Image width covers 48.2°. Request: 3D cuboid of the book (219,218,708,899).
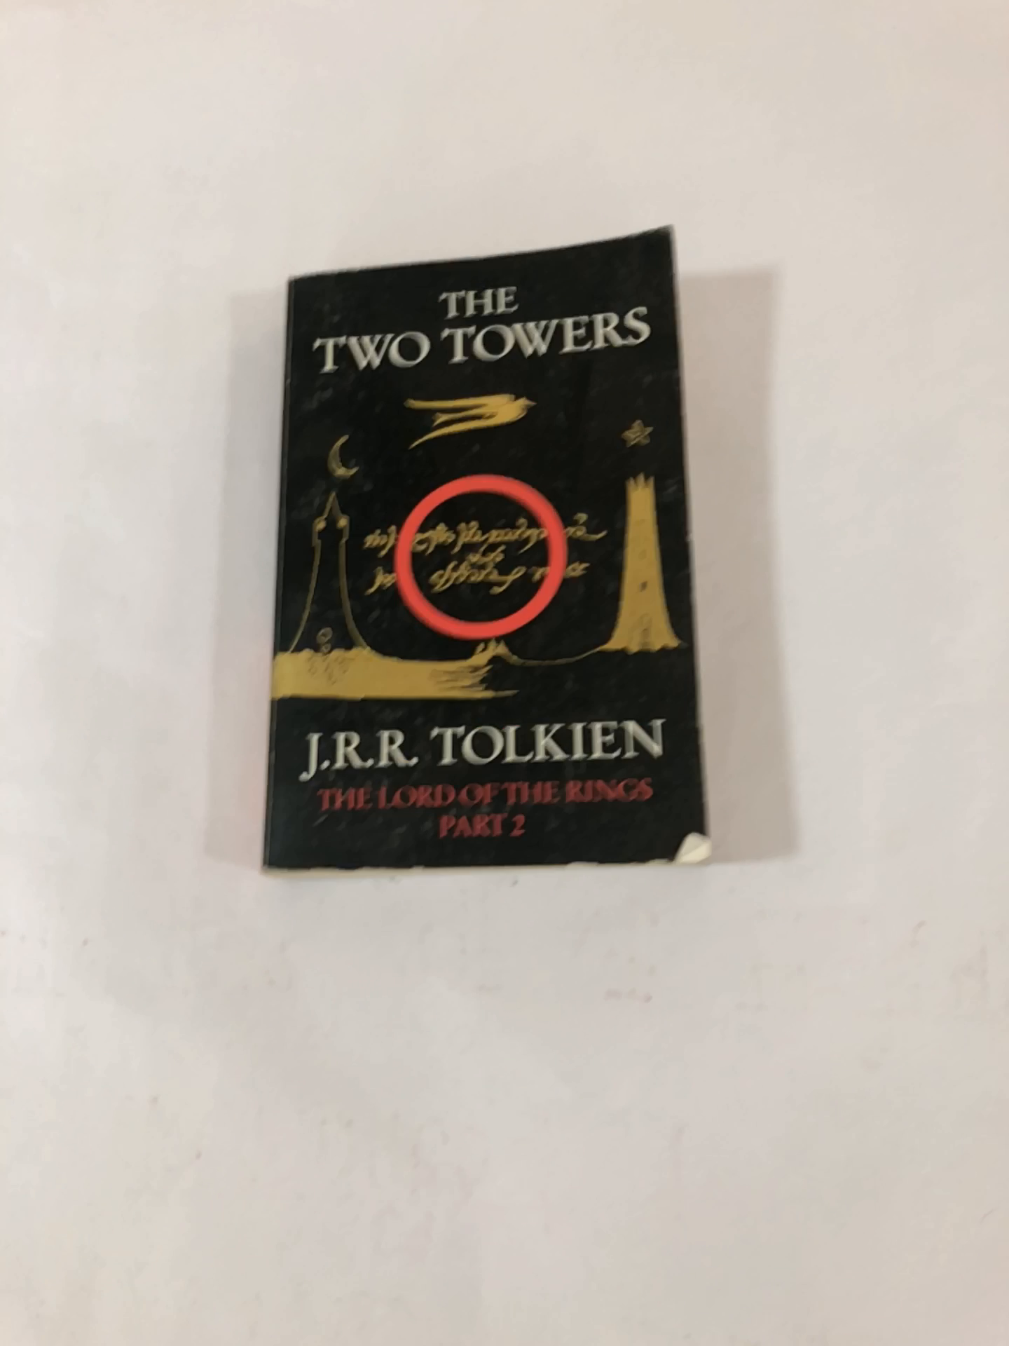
[{"bbox_3d":[-0.013,-0.037,0.340,0.130,0.030,0.200,-3,74,5],"label":"book"}]
